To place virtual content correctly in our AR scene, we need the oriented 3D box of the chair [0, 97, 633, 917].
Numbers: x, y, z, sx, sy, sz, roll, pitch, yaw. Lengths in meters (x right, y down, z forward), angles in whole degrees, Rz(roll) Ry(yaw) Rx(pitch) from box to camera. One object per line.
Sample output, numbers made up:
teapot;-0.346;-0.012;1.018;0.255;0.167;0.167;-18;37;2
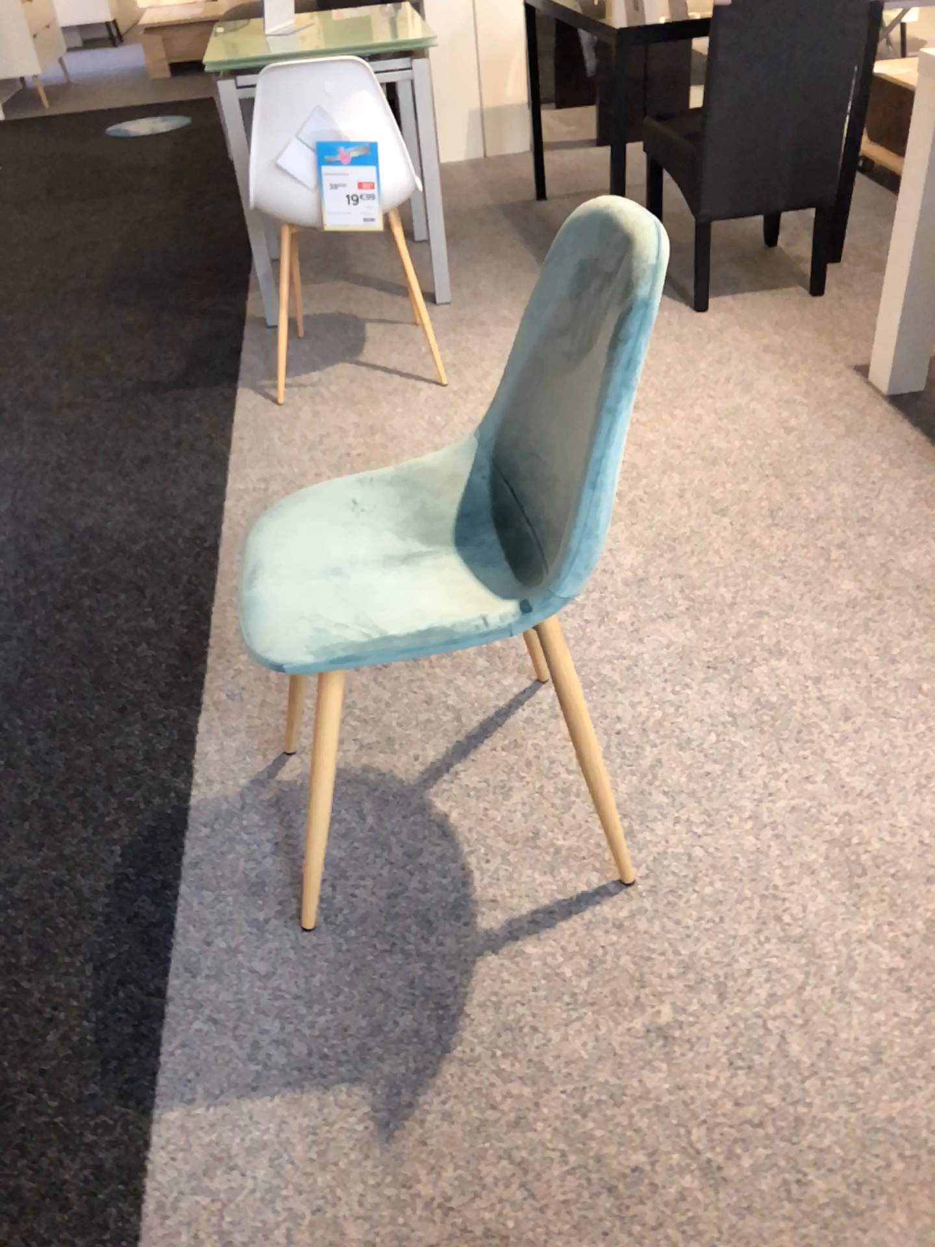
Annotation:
chair;-0.146;-0.137;1.310;0.550;0.835;0.472;-11;38;-8
